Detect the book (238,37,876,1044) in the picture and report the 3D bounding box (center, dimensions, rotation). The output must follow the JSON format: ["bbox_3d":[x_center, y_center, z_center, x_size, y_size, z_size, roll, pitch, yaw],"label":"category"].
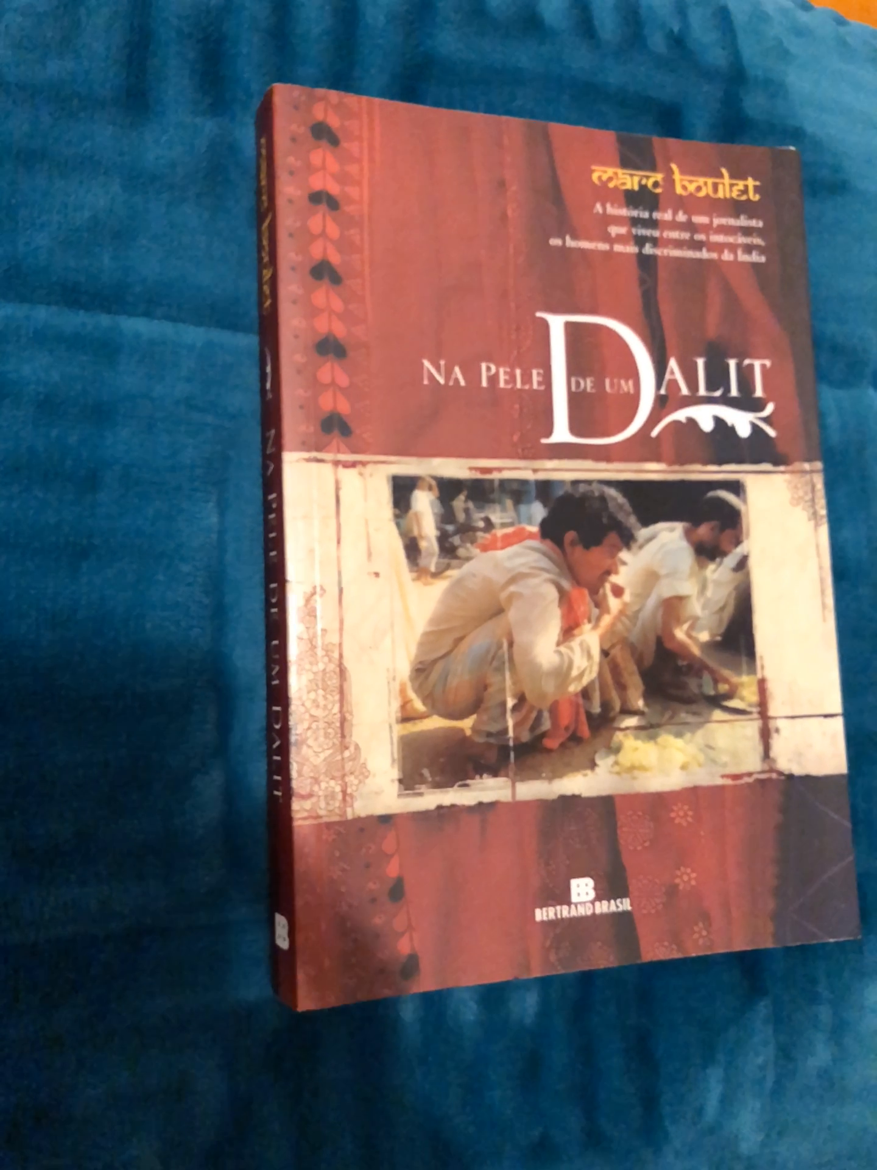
[{"bbox_3d":[0.034,-0.014,0.249,0.160,0.030,0.220,-1,86,-15],"label":"book"}]
